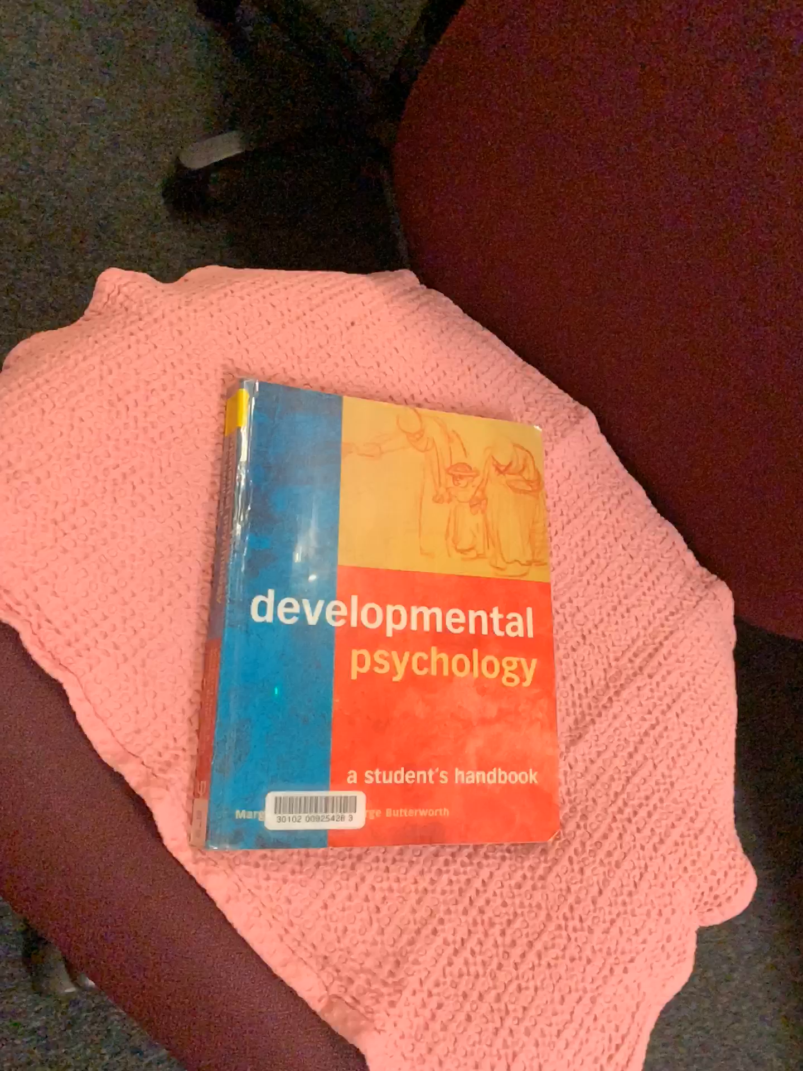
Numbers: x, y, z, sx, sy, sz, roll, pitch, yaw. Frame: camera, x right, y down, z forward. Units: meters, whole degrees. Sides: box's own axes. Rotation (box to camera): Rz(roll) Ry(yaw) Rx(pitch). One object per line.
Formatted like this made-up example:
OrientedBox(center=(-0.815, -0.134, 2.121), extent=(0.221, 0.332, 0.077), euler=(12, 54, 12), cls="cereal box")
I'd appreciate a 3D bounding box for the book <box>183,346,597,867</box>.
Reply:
OrientedBox(center=(-0.003, 0.037, 0.457), extent=(0.211, 0.040, 0.261), euler=(6, 71, -21), cls="book")
